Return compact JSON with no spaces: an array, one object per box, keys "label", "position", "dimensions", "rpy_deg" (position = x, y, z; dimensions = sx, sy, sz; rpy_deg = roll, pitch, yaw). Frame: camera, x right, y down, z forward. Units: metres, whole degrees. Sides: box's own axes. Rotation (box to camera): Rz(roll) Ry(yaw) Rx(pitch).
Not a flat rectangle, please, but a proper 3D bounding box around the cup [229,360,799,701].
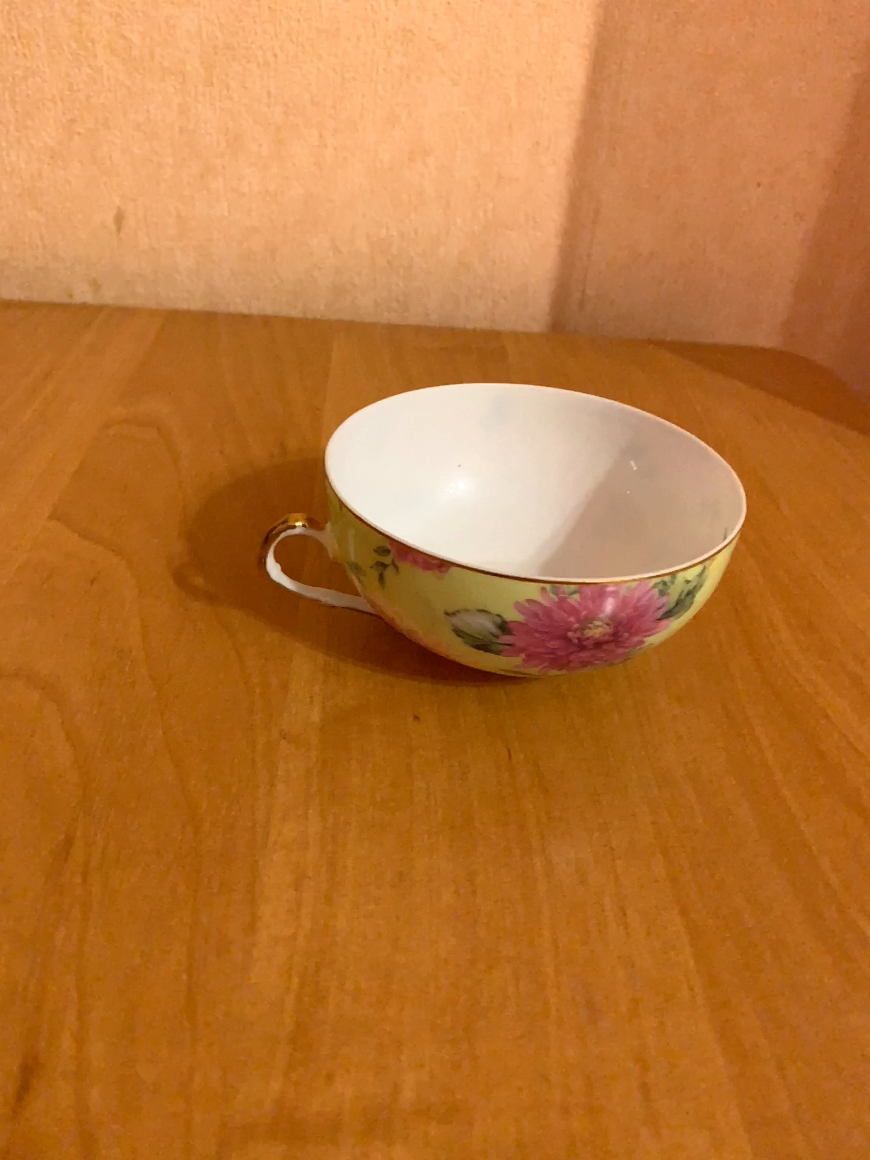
[{"label":"cup","position":[0.013,-0.015,0.222],"dimensions":[0.113,0.045,0.079],"rpy_deg":[2,34,-5]}]
